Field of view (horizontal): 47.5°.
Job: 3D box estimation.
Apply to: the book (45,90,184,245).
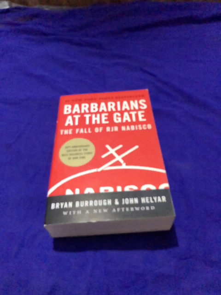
[{"bbox_3d":[0.000,0.012,0.338,0.140,0.050,0.211,-3,50,-1],"label":"book"}]
